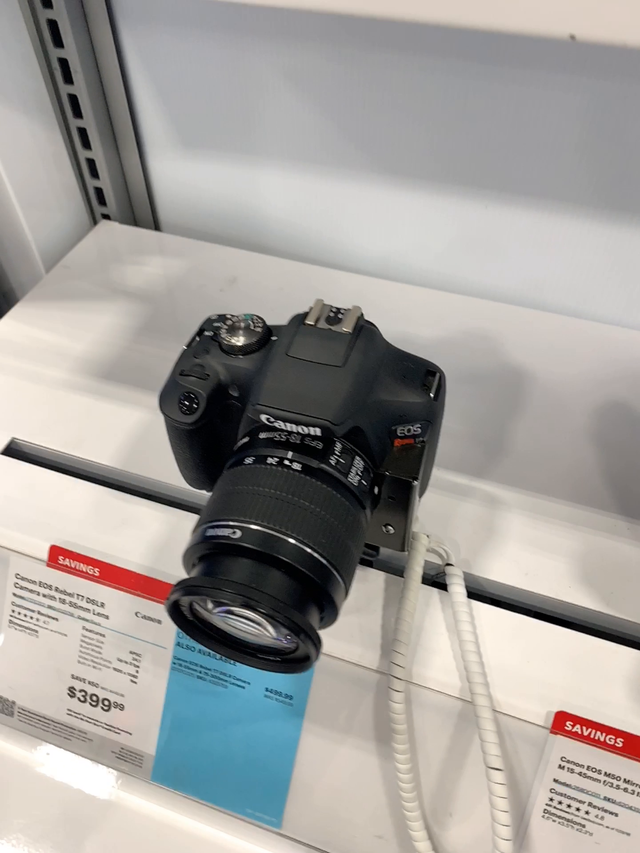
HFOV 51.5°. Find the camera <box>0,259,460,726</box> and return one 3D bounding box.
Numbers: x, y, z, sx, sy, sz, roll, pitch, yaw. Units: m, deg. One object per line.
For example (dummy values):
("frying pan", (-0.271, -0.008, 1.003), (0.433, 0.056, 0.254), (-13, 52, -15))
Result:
("camera", (-0.023, 0.021, 0.283), (0.125, 0.100, 0.141), (14, 52, 14))
